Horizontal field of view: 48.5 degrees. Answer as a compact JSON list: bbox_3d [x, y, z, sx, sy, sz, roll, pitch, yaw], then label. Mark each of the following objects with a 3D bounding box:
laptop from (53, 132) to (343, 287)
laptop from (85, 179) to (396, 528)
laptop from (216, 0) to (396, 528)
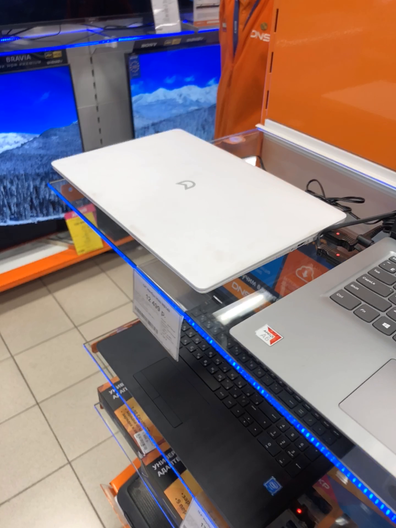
[{"bbox_3d":[-0.014,-0.094,0.545,0.212,0.002,0.313,-24,44,-30],"label":"laptop"},{"bbox_3d":[0.067,0.084,0.638,0.306,0.228,0.365,-22,42,-29],"label":"laptop"},{"bbox_3d":[0.240,-0.002,0.254,0.279,0.224,0.345,-26,44,-32],"label":"laptop"}]
